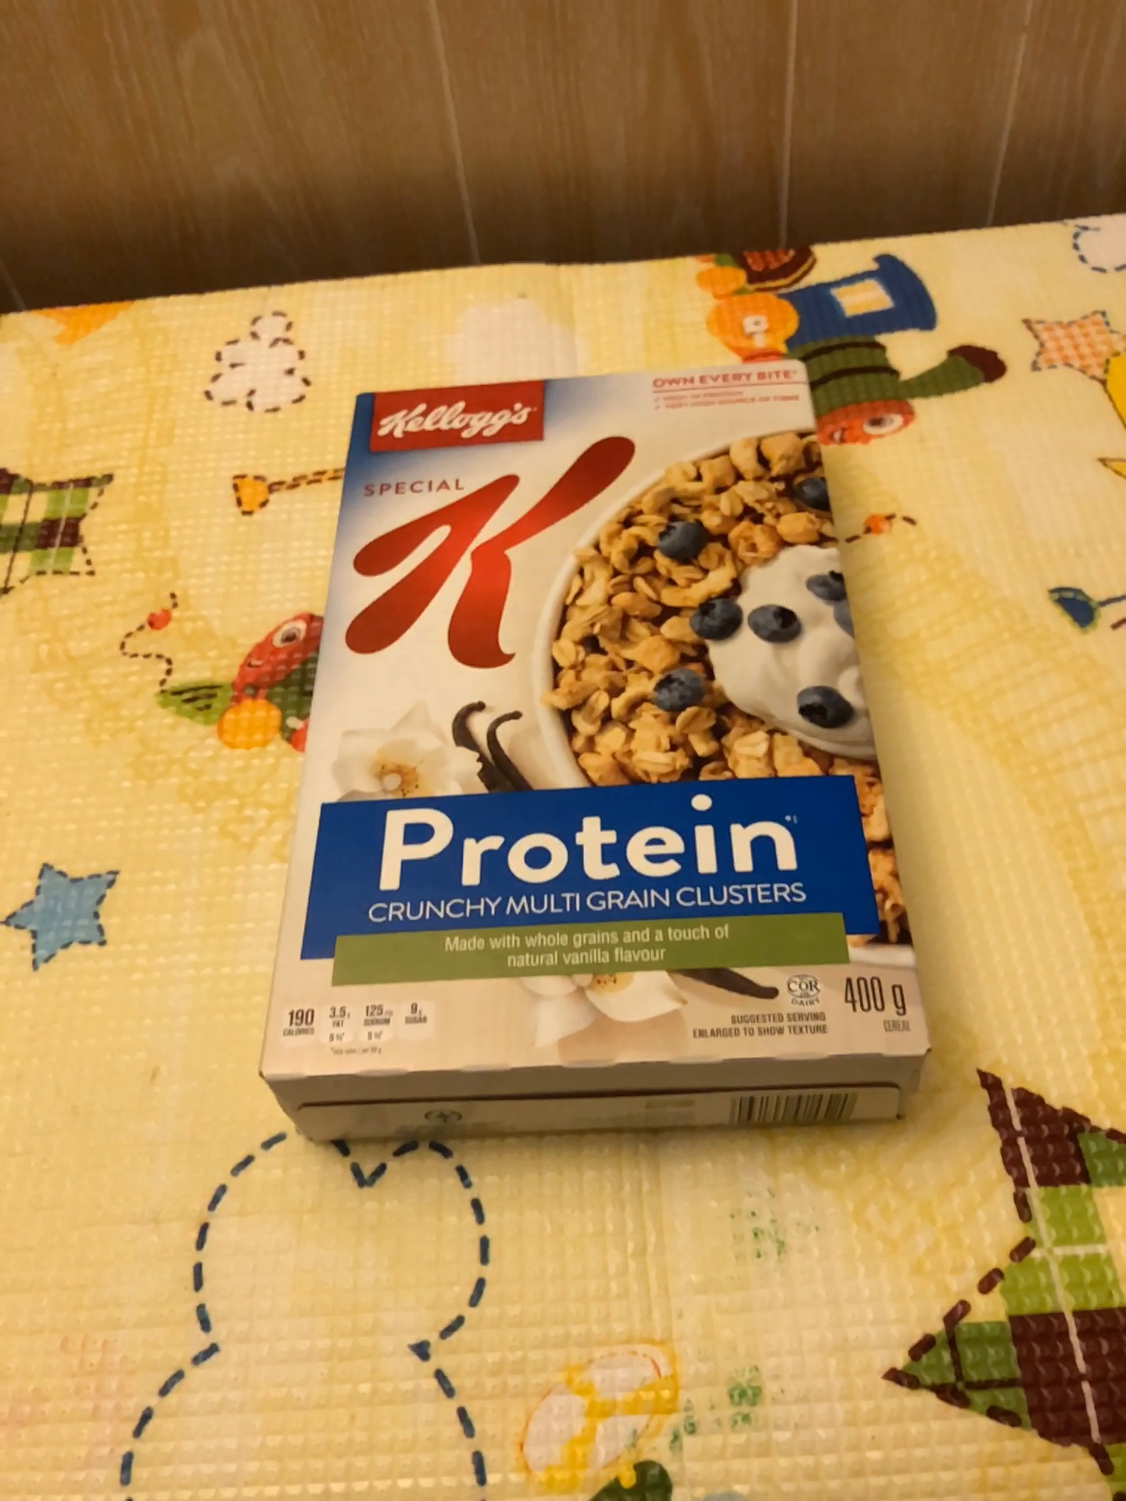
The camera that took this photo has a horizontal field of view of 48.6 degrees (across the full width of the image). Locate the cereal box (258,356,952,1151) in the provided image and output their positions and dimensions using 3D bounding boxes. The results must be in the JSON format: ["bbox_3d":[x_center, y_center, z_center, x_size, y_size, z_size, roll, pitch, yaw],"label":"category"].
[{"bbox_3d":[0.011,-0.013,0.382,0.160,0.060,0.251,-1,56,2],"label":"cereal box"}]
